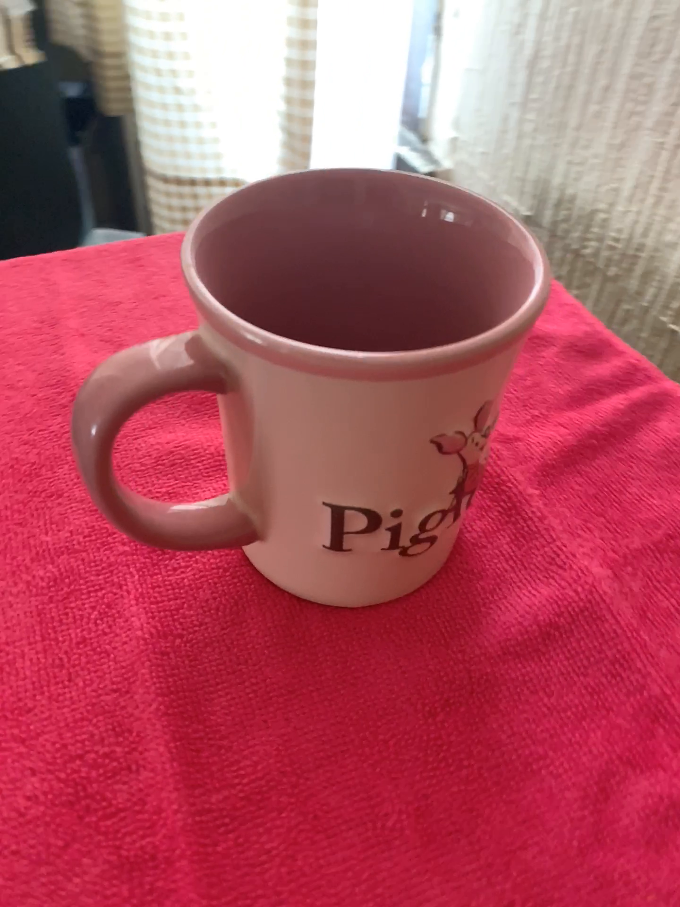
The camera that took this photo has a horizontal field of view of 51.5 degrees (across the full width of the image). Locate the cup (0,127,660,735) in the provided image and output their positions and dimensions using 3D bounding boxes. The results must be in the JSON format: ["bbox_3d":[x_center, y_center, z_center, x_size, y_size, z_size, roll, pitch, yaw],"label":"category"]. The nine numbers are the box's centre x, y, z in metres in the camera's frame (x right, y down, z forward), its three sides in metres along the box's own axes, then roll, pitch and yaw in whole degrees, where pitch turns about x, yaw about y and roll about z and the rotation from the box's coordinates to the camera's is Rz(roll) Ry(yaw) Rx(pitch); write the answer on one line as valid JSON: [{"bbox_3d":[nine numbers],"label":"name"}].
[{"bbox_3d":[-0.009,-0.012,0.201,0.130,0.109,0.091,-19,49,-20],"label":"cup"}]
